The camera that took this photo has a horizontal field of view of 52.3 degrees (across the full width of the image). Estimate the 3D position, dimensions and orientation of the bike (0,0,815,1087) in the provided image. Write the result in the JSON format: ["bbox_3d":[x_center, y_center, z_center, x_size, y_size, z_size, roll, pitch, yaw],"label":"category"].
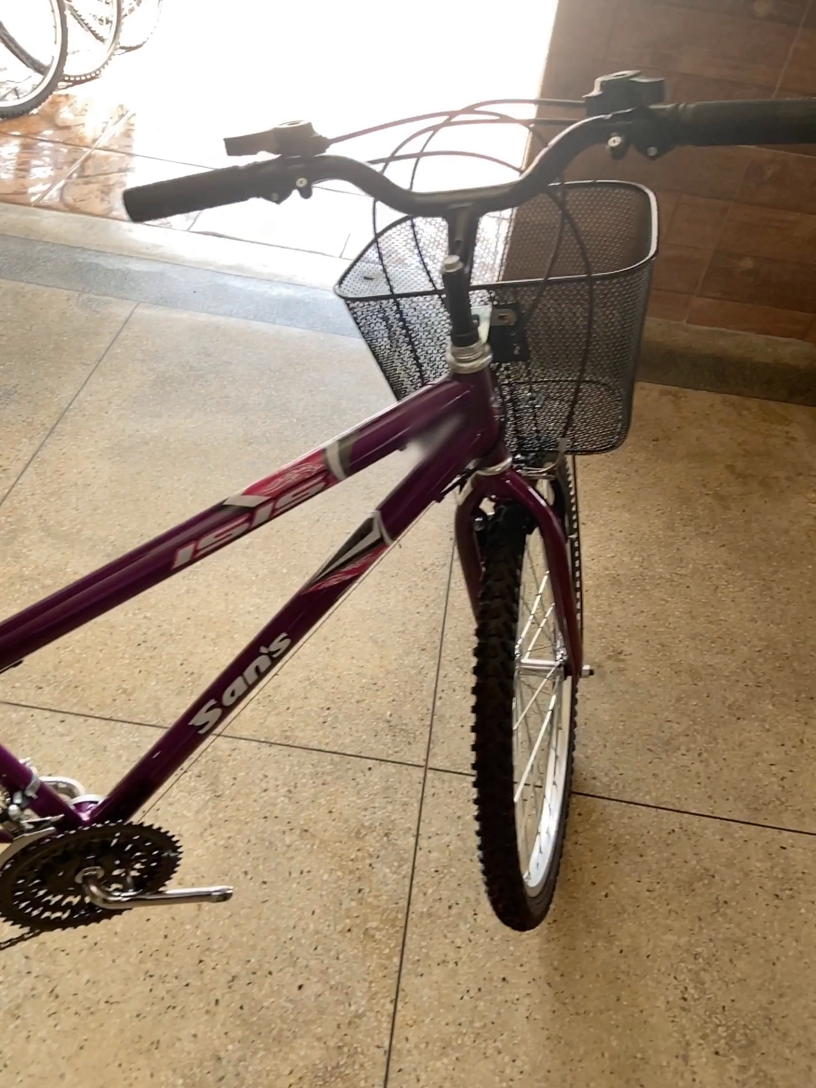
[{"bbox_3d":[-0.374,0.049,0.817,1.525,1.034,0.574,-22,53,-23],"label":"bike"}]
